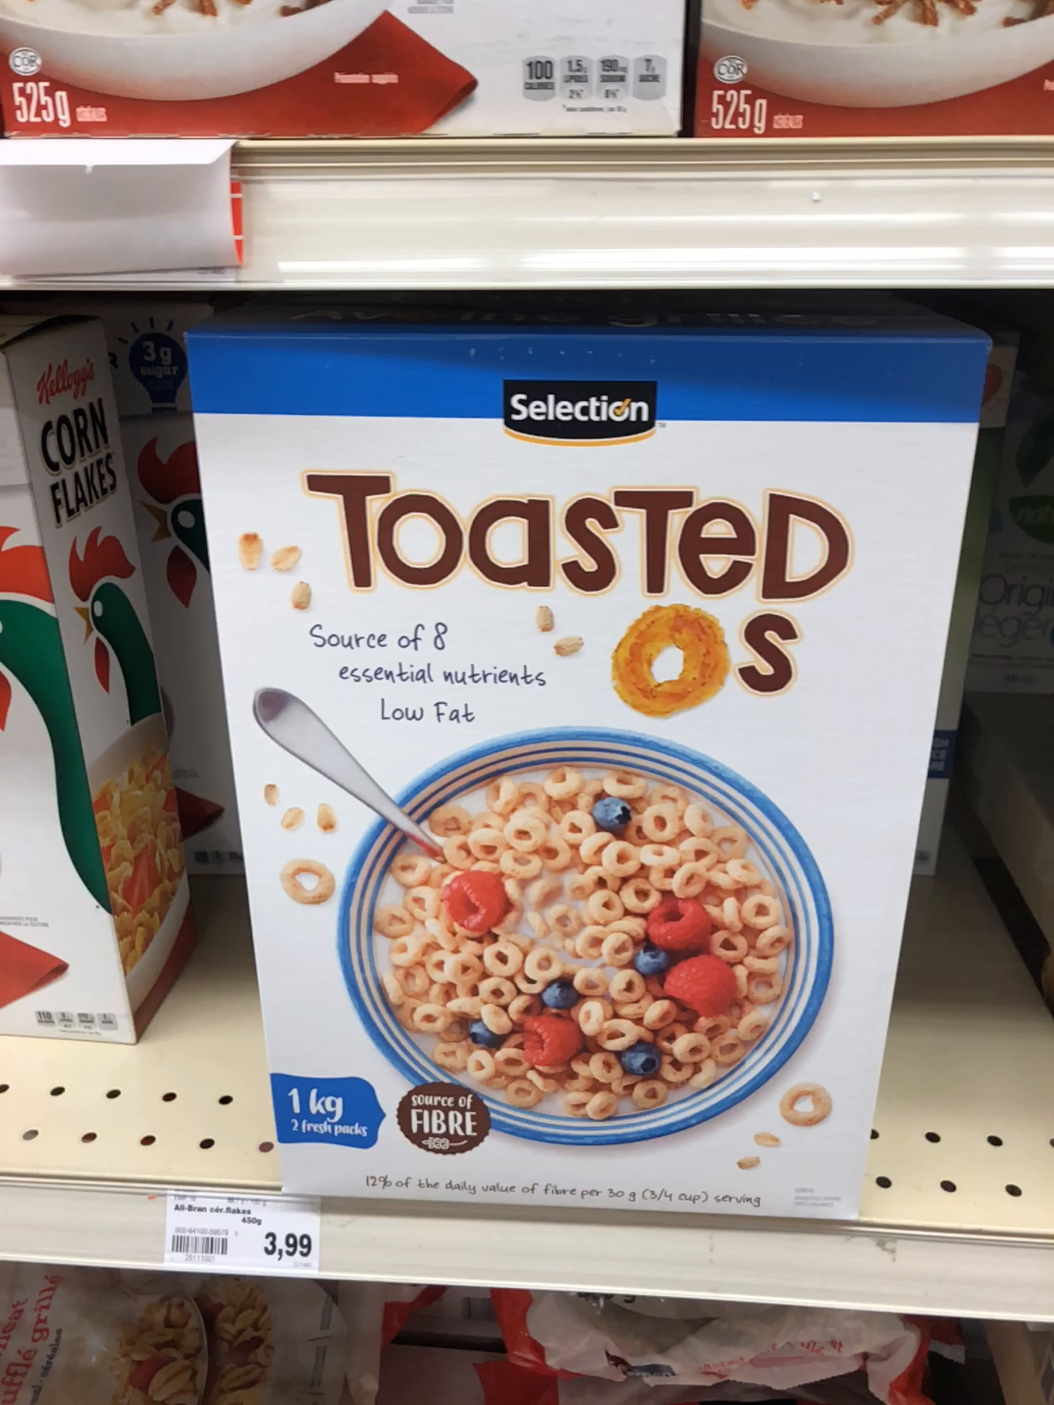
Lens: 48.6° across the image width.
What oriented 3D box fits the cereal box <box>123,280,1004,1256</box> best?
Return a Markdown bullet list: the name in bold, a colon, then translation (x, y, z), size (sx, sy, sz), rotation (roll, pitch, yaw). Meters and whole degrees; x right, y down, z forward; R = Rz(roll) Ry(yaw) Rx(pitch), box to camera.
- **cereal box**: translation (0.013, 0.019, 0.456), size (0.240, 0.338, 0.161), rotation (1, 23, 3)
